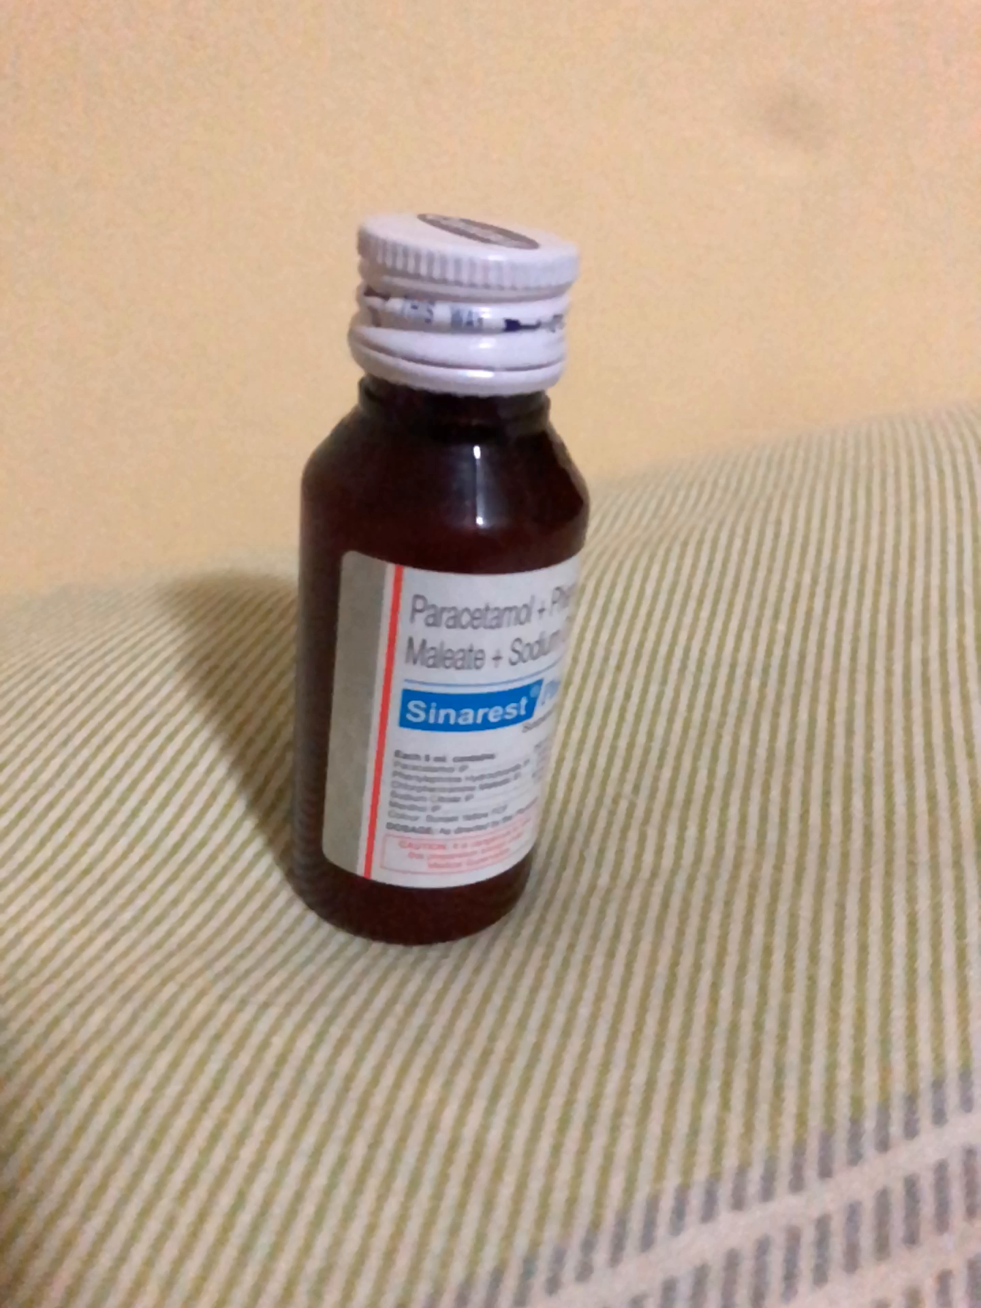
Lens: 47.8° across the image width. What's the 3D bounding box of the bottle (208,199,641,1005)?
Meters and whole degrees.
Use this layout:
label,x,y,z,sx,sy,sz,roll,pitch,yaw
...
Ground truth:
label,x,y,z,sx,sy,sz,roll,pitch,yaw
bottle,-0.013,-0.005,0.150,0.040,0.100,0.037,4,32,-2
